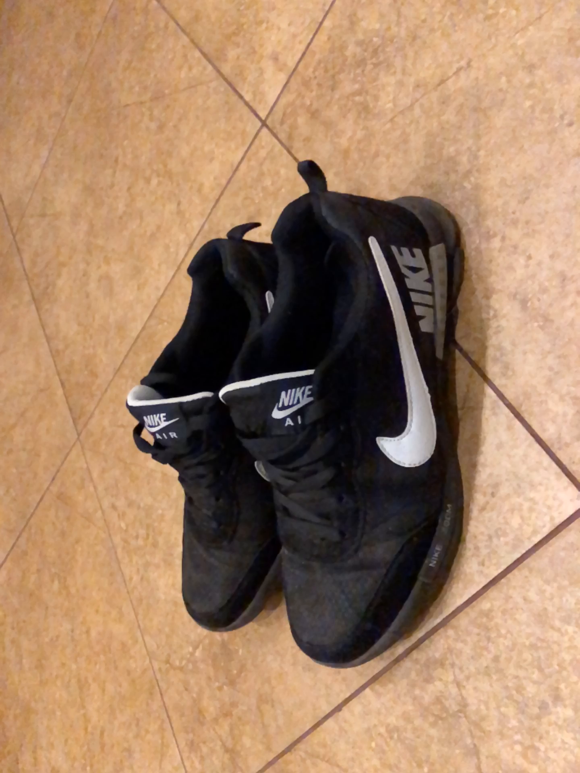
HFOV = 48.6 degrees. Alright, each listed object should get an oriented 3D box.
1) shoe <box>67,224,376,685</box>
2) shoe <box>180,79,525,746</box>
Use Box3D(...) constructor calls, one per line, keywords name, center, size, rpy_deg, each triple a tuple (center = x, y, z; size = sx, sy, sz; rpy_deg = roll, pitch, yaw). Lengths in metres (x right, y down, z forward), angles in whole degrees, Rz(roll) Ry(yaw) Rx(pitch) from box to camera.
Box3D(name="shoe", center=(-0.049, 0.038, 0.446), size=(0.111, 0.119, 0.270), rpy_deg=(15, 95, 47))
Box3D(name="shoe", center=(0.037, 0.012, 0.371), size=(0.121, 0.119, 0.300), rpy_deg=(3, 85, 47))
